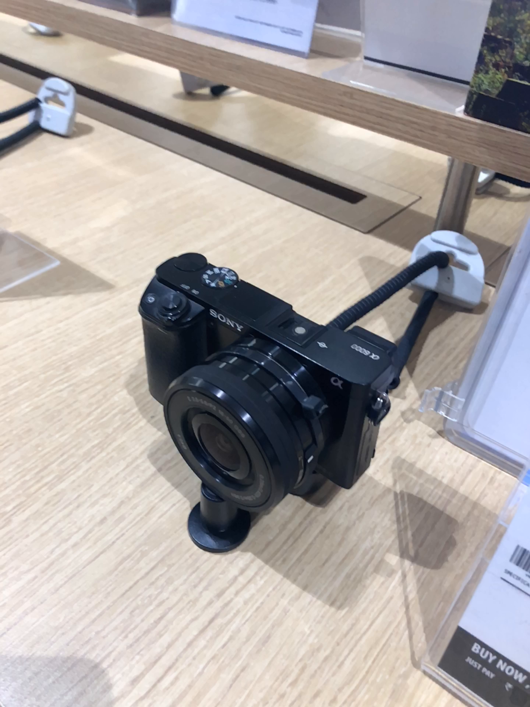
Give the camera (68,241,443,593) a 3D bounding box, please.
[{"bbox_3d":[-0.008,0.018,0.250,0.130,0.070,0.070,29,46,28],"label":"camera"}]
